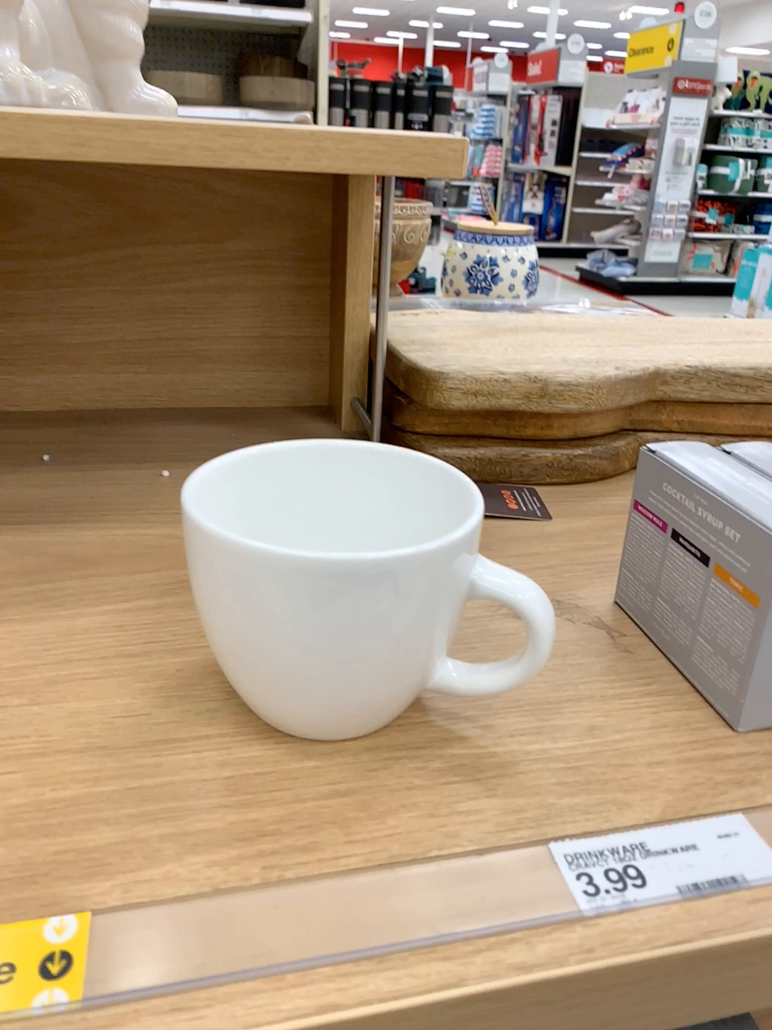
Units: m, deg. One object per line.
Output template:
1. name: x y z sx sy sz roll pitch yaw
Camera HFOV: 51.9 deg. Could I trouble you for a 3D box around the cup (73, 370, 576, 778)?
1. cup: -0.011 0.009 0.281 0.140 0.080 0.111 9 26 11
